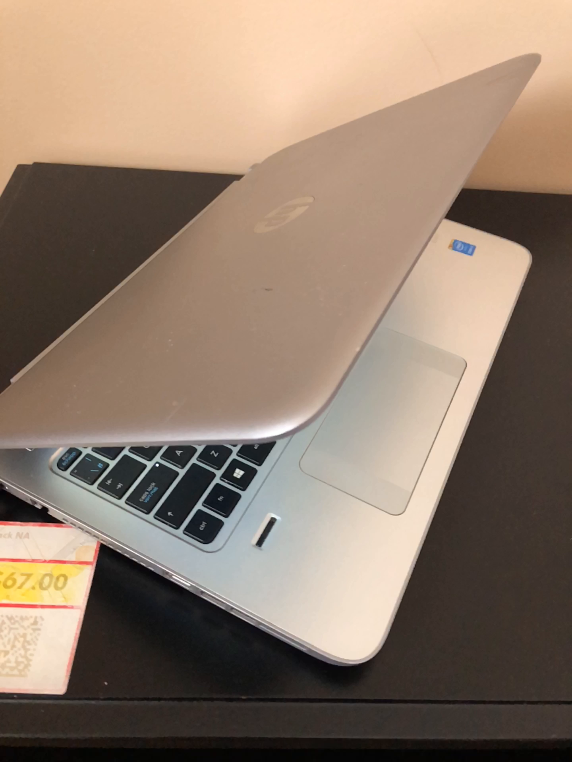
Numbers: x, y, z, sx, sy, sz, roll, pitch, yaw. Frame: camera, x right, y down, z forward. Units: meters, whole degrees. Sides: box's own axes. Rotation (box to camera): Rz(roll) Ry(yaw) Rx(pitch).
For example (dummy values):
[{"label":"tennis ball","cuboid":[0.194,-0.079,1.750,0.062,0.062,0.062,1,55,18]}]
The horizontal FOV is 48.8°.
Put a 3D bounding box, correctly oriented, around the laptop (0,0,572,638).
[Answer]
[{"label":"laptop","cuboid":[0.009,-0.084,0.378,0.227,0.153,0.357,22,50,14]}]
